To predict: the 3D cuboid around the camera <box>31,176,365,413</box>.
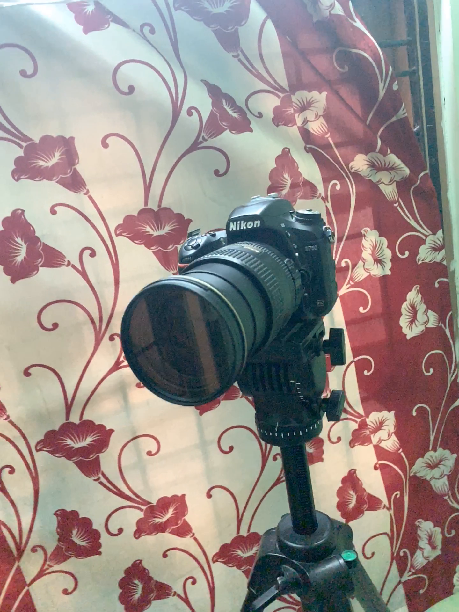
[{"bbox_3d":[-0.003,-0.017,0.346,0.172,0.122,0.170,-5,13,22],"label":"camera"}]
